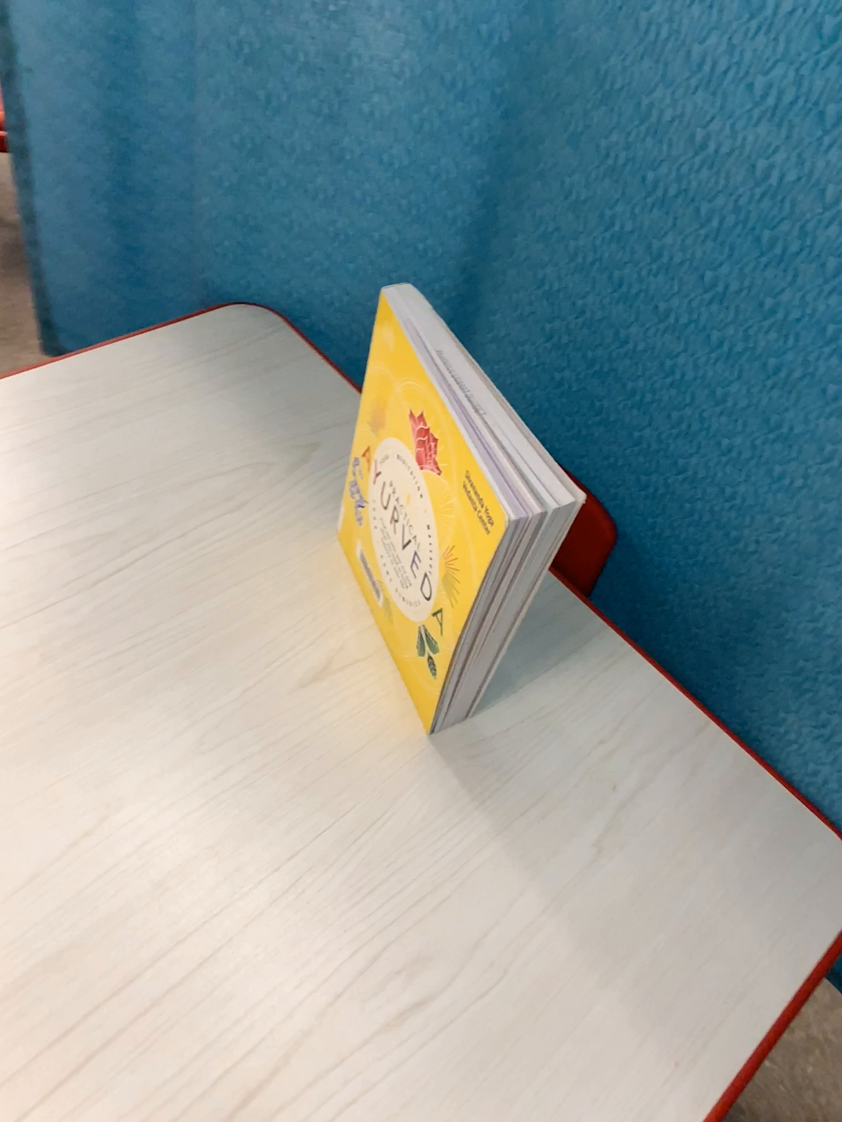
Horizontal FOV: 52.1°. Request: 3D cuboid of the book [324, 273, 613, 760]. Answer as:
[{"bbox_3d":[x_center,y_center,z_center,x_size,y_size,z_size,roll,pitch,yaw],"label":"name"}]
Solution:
[{"bbox_3d":[0.009,-0.022,0.592,0.050,0.259,0.211,-12,55,-24],"label":"book"}]
